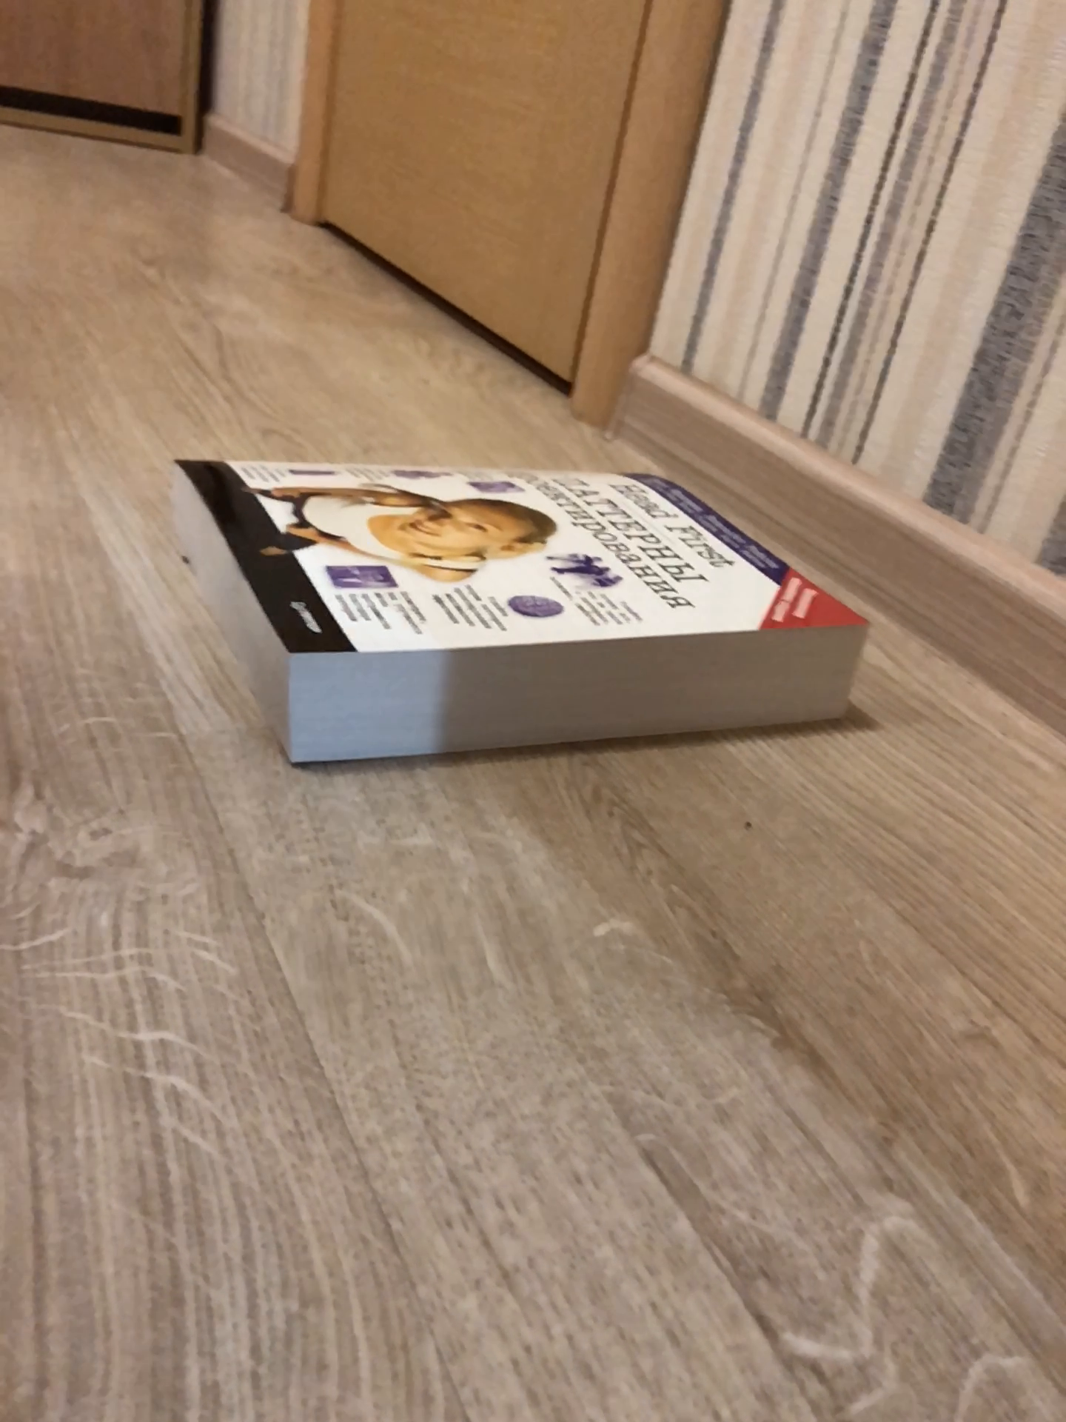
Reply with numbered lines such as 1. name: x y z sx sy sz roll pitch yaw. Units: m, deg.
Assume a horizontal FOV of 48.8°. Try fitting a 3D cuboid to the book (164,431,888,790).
1. book: -0.014 -0.058 0.500 0.240 0.049 0.207 -5 33 -27
